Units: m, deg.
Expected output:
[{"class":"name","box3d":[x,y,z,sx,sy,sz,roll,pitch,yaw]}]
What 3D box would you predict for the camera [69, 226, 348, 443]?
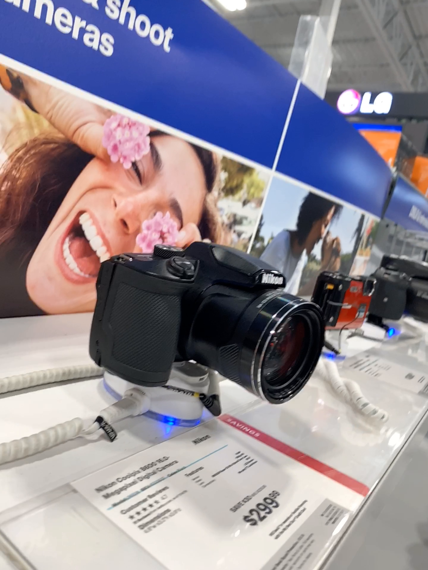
[{"class":"camera","box3d":[-0.001,0.020,0.268,0.100,0.080,0.120,18,10,39]}]
